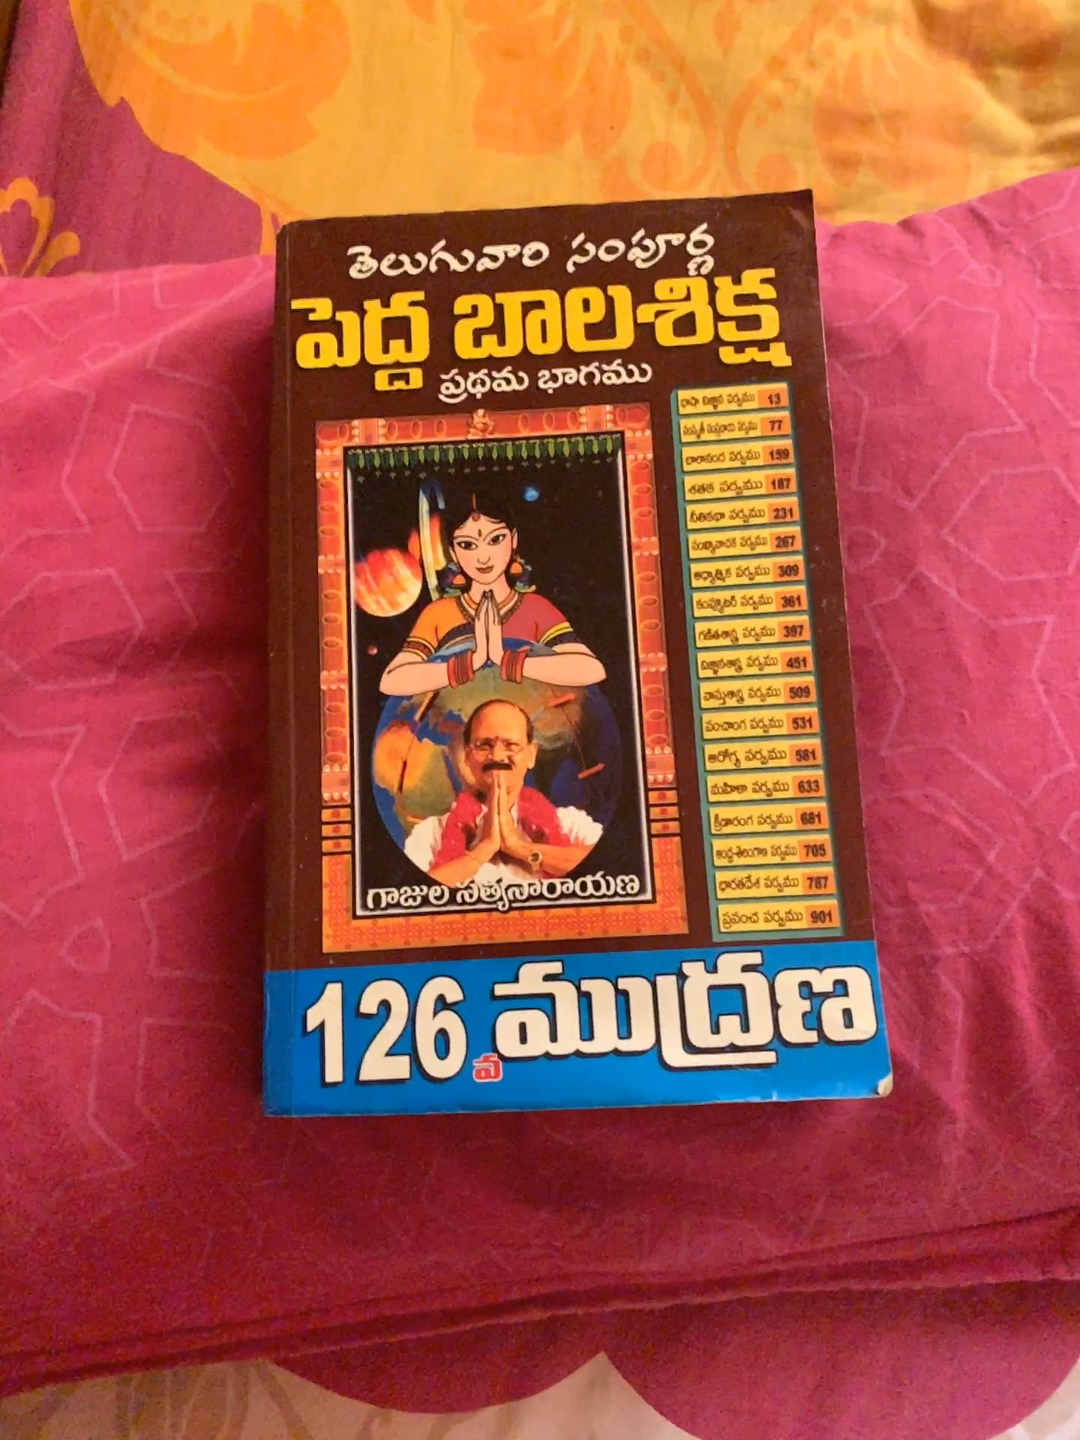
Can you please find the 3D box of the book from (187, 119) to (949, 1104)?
[{"bbox_3d":[0.002,-0.034,0.315,0.180,0.050,0.260,-2,78,2],"label":"book"}]
